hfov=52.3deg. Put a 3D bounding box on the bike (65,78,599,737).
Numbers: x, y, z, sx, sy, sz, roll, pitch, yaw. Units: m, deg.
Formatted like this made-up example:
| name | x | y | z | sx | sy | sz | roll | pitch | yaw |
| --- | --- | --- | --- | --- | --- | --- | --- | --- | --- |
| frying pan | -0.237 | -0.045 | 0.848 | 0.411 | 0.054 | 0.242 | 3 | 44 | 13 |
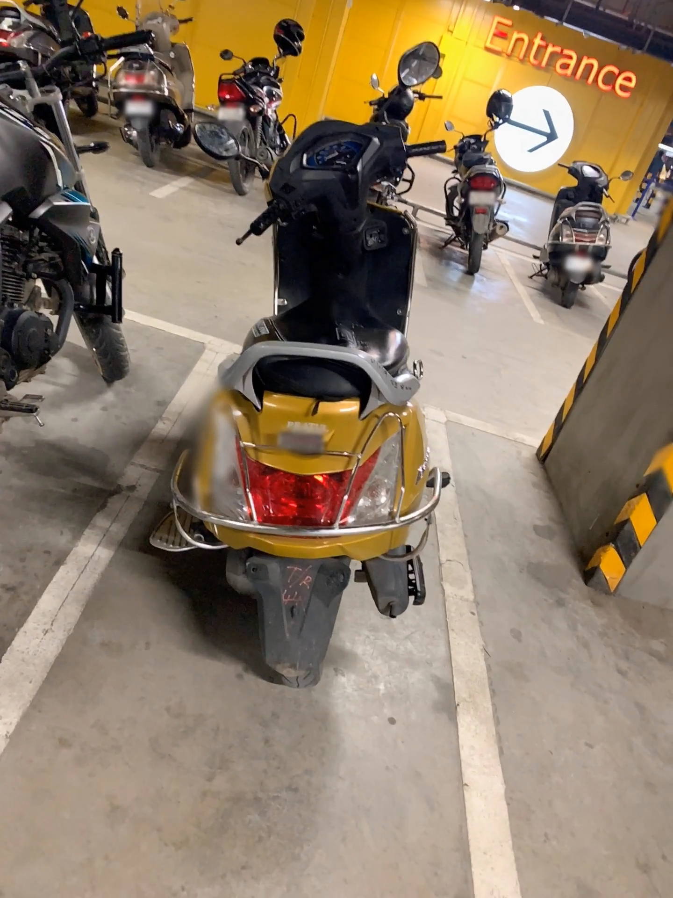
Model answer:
| name | x | y | z | sx | sy | sz | roll | pitch | yaw |
| --- | --- | --- | --- | --- | --- | --- | --- | --- | --- |
| bike | -0.119 | -0.292 | 1.734 | 0.568 | 0.993 | 1.528 | 14 | 28 | -11 |
